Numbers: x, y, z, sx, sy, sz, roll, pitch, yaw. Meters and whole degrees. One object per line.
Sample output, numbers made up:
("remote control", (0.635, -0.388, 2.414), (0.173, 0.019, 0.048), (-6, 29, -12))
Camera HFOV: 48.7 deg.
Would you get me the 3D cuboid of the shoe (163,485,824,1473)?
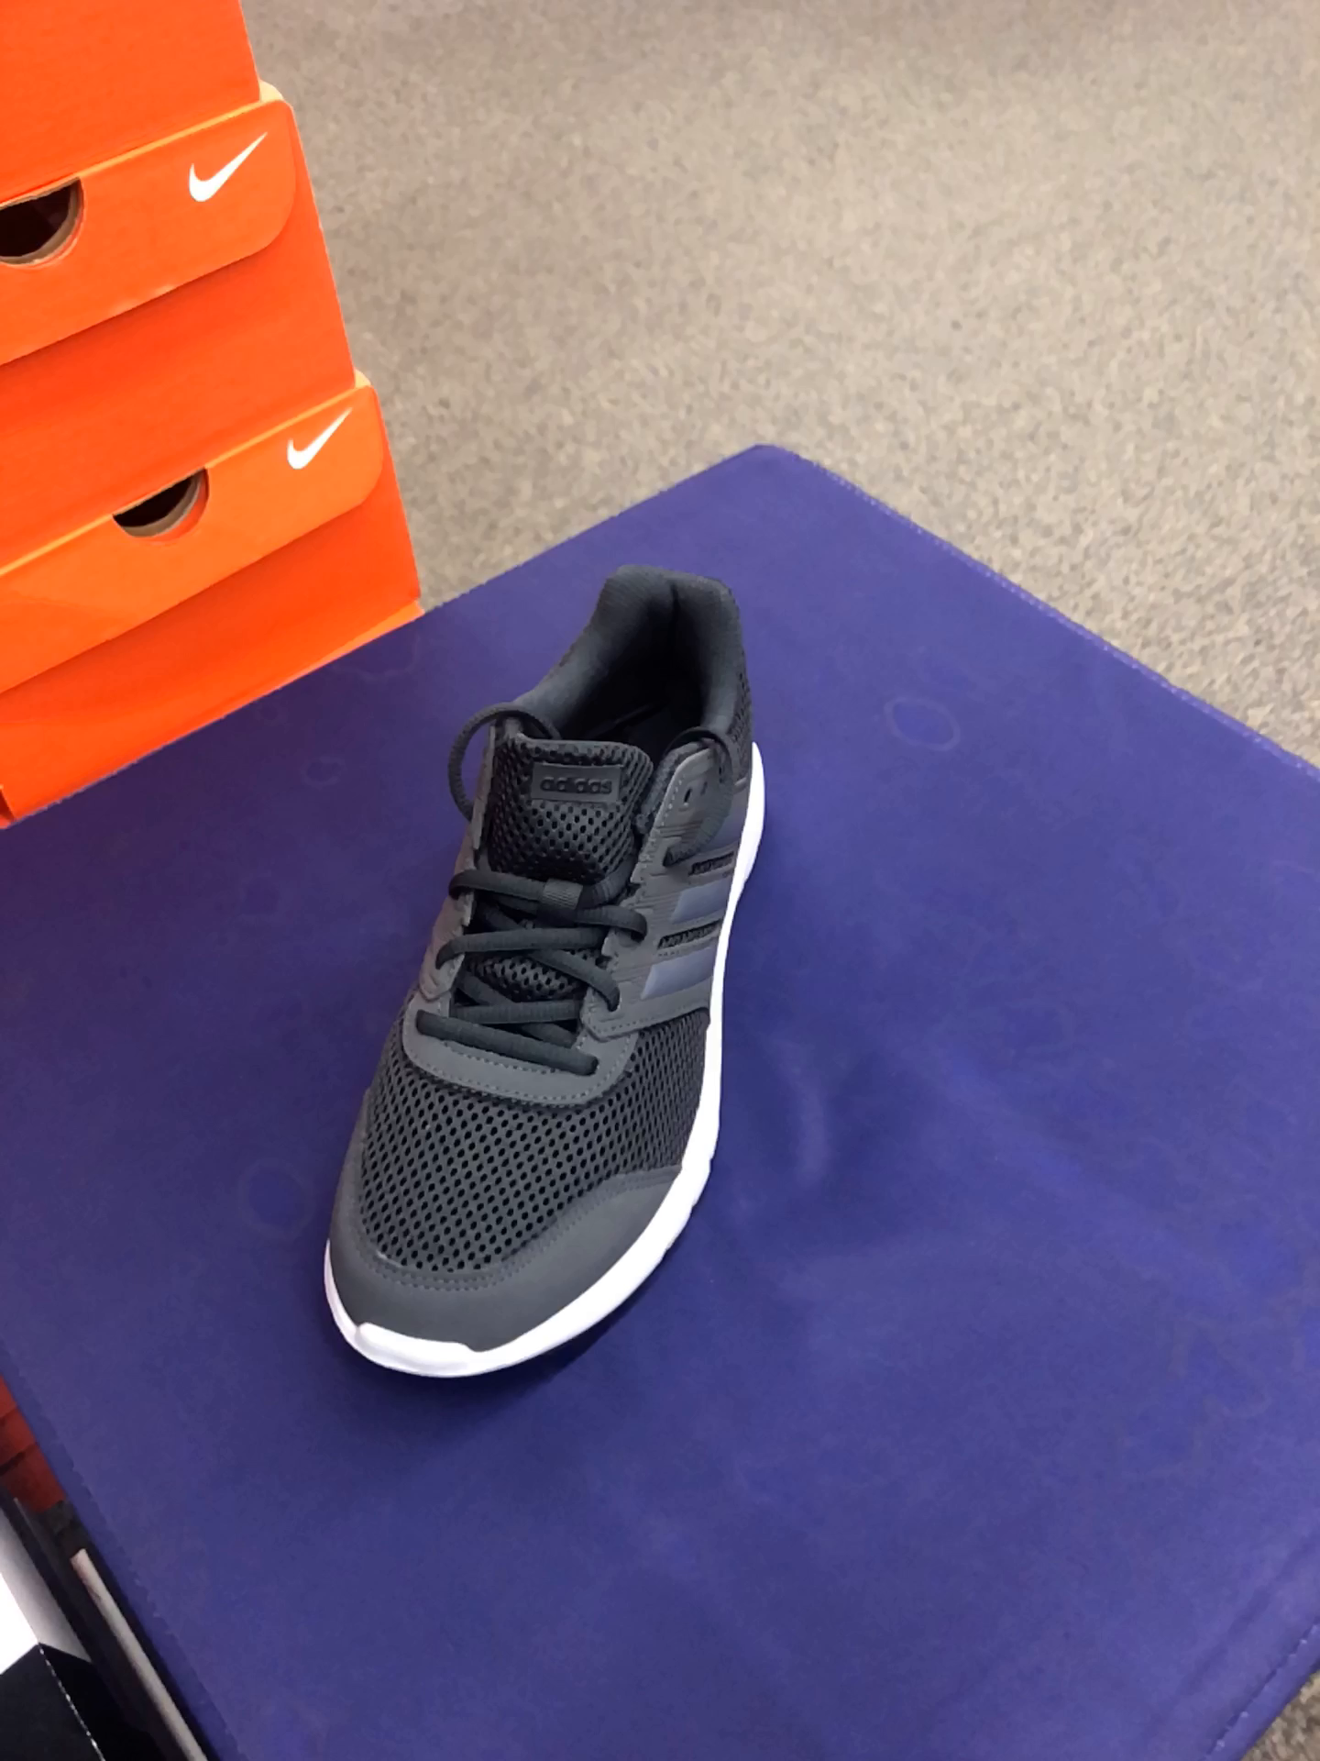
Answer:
("shoe", (-0.026, 0.010, 0.443), (0.101, 0.107, 0.282), (9, 49, 10))
